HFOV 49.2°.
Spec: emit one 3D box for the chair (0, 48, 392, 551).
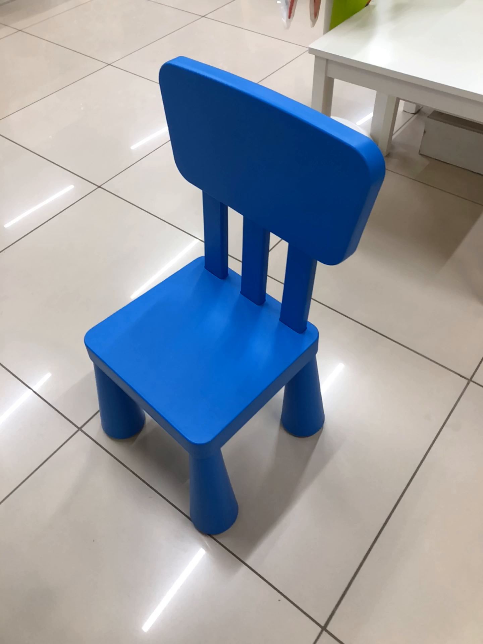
[{"bbox_3d":[-0.068,0.007,0.862,0.356,0.666,0.356,36,60,28],"label":"chair"}]
